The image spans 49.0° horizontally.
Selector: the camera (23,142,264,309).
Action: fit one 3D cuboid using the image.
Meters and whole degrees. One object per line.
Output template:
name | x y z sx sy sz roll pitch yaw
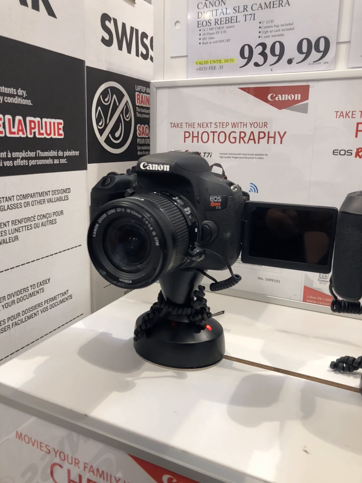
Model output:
camera | -0.020 -0.030 0.335 0.140 0.100 0.150 7 15 23
